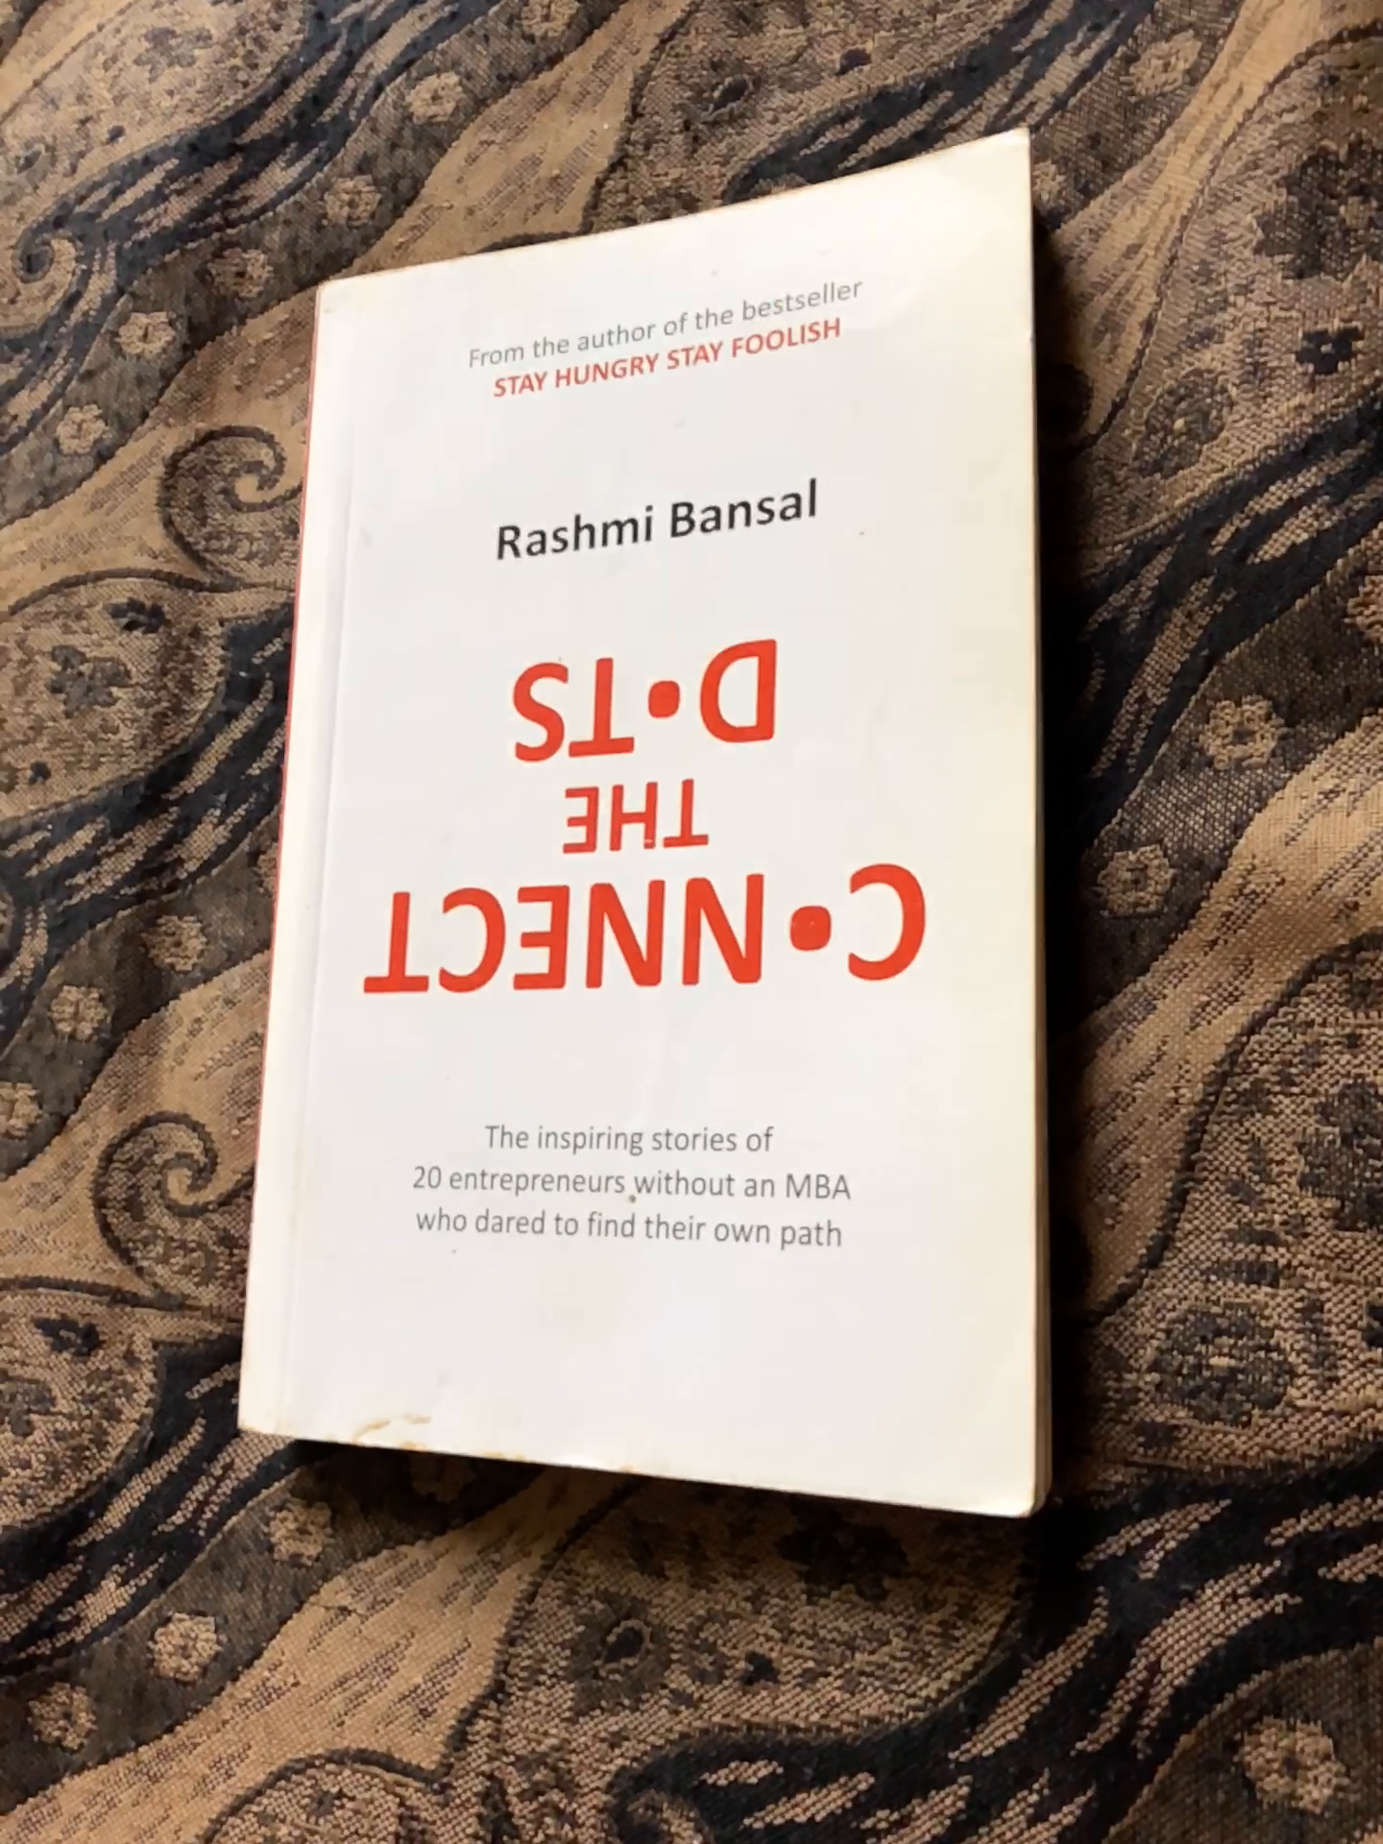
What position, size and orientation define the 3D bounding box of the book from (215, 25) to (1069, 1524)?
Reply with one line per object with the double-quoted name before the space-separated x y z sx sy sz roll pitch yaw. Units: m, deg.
"book" -0.007 -0.024 0.264 0.130 0.040 0.220 -3 78 25
